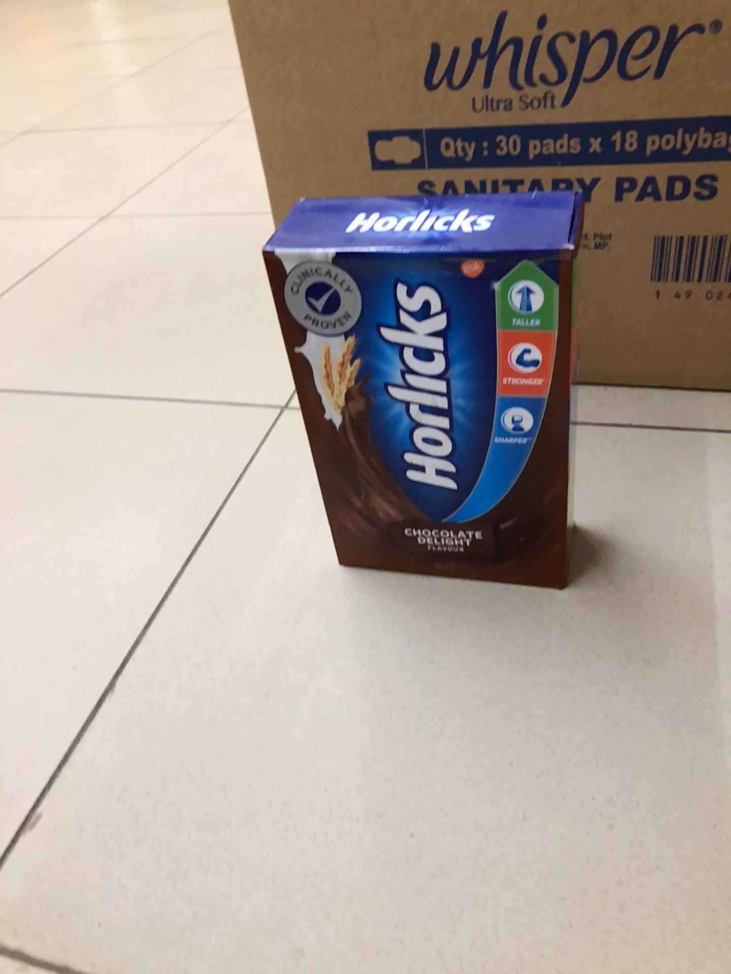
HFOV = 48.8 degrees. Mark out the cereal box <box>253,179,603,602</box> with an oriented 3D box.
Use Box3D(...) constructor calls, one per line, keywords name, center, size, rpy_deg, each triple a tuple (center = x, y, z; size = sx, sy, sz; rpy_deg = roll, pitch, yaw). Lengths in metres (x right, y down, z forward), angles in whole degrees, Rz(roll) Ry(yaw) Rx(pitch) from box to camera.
Box3D(name="cereal box", center=(0.041, -0.042, 0.406), size=(0.140, 0.199, 0.060), rpy_deg=(5, 40, 18))
